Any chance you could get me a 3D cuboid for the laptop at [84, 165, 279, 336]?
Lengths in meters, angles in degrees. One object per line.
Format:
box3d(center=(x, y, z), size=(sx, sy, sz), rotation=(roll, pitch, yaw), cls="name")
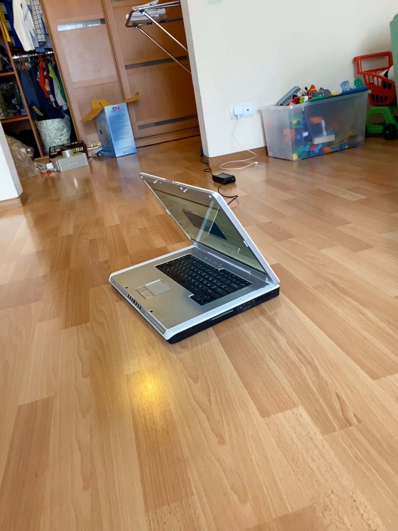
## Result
box3d(center=(-0.056, -0.072, 0.943), size=(0.273, 0.238, 0.388), rotation=(-20, 25, -24), cls="laptop")
